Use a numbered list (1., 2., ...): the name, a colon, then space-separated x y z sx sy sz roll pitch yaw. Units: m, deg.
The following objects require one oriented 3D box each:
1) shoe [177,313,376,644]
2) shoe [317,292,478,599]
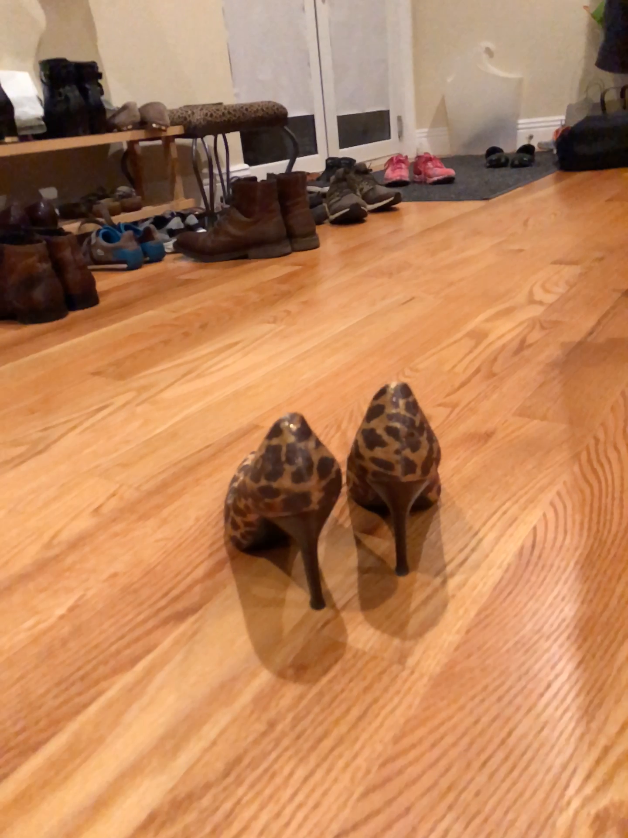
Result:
1. shoe: -0.036 0.025 0.500 0.083 0.144 0.219 -12 24 -12
2. shoe: 0.055 0.004 0.523 0.083 0.144 0.219 -6 23 1
